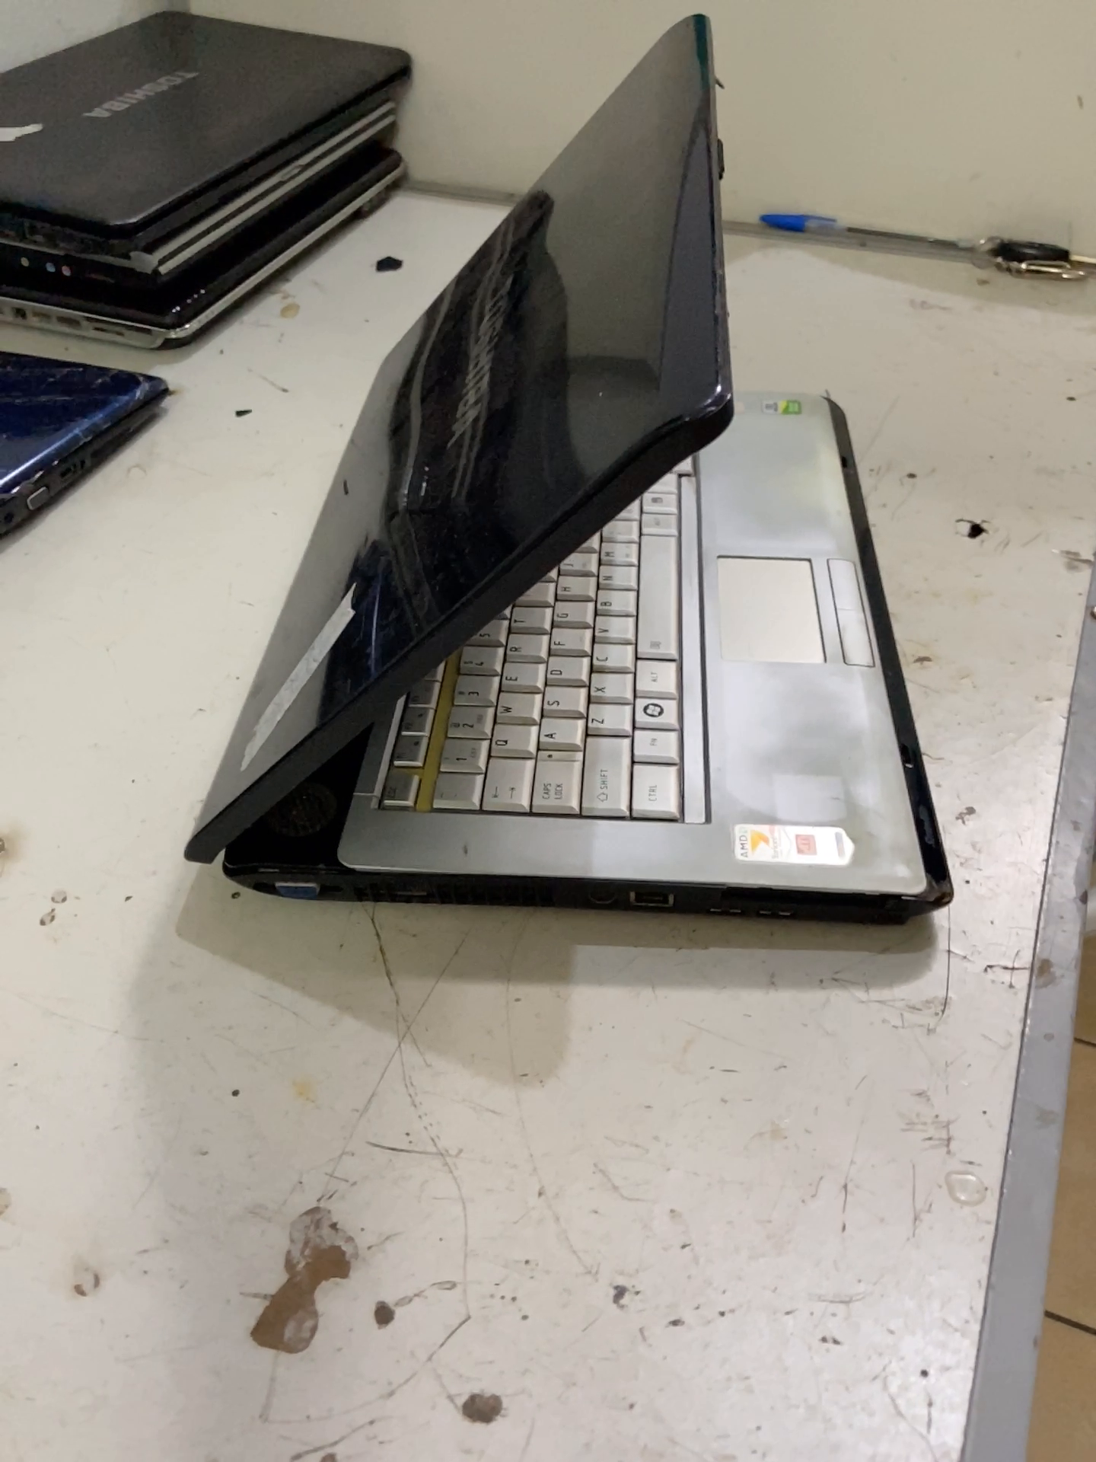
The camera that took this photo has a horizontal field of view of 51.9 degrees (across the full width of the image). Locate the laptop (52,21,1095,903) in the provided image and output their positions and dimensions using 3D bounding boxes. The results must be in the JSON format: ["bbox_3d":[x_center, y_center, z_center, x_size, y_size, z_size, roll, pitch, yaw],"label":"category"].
[{"bbox_3d":[0.021,-0.138,0.466,0.256,0.185,0.358,2,45,4],"label":"laptop"}]
